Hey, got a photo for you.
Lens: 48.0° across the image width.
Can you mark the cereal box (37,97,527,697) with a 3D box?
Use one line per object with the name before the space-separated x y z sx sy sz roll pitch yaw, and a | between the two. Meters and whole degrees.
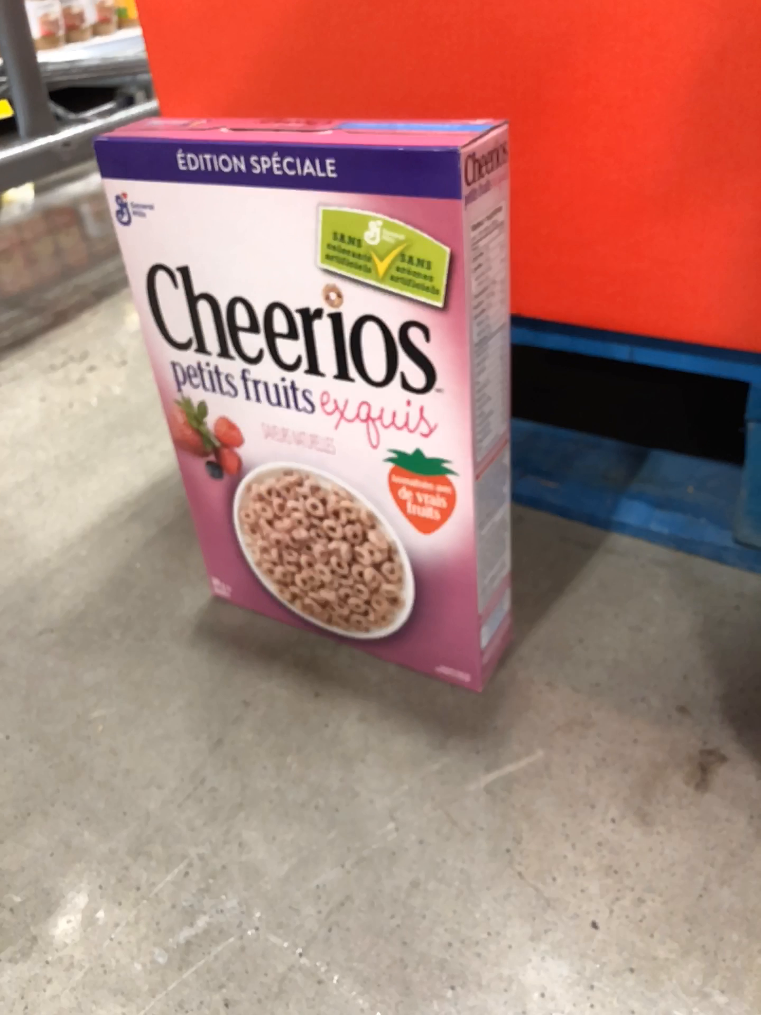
cereal box | -0.038 -0.056 0.446 0.220 0.279 0.060 15 40 29
